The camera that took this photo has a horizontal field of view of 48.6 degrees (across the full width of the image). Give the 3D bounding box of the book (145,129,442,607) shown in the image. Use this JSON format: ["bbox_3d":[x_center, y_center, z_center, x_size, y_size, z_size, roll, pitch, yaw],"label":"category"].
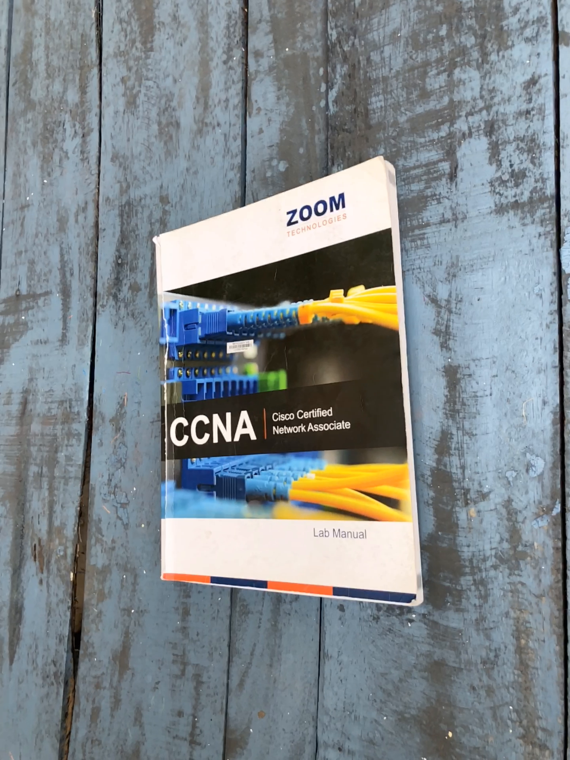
[{"bbox_3d":[-0.008,-0.001,0.407,0.201,0.030,0.260,-8,78,35],"label":"book"}]
